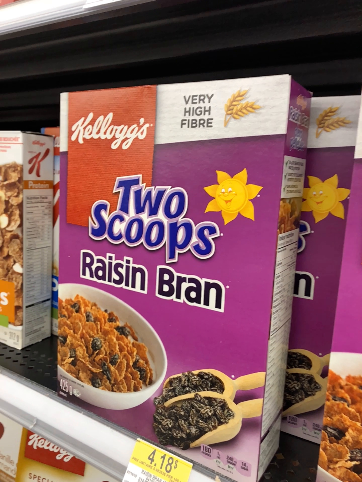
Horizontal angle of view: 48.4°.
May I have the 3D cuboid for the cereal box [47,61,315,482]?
[{"bbox_3d":[-0.016,0.016,0.316,0.200,0.269,0.050,8,11,30],"label":"cereal box"}]
